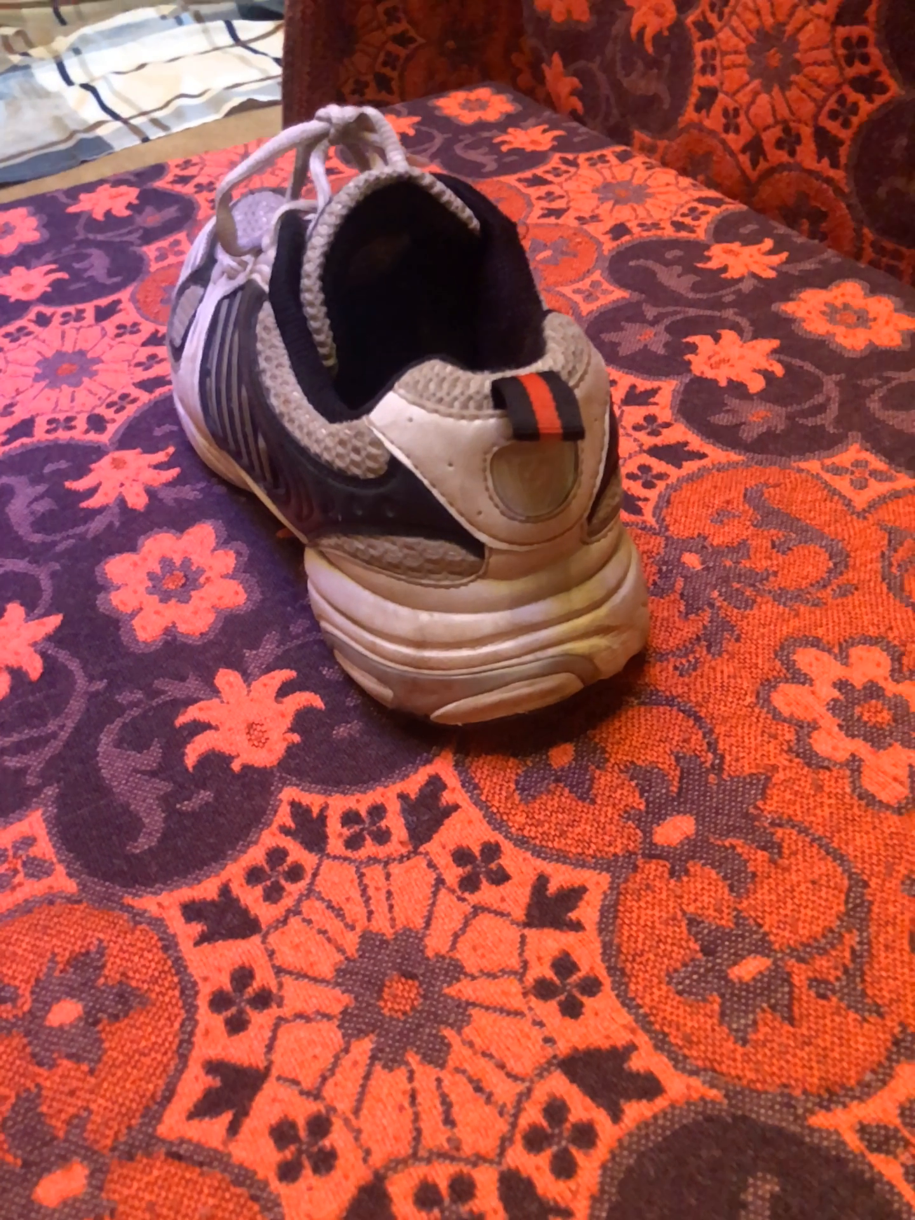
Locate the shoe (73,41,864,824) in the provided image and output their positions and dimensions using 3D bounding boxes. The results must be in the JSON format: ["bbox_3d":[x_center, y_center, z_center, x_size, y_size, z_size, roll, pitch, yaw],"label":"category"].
[{"bbox_3d":[-0.025,-0.093,0.353,0.120,0.109,0.301,-21,46,-18],"label":"shoe"}]
